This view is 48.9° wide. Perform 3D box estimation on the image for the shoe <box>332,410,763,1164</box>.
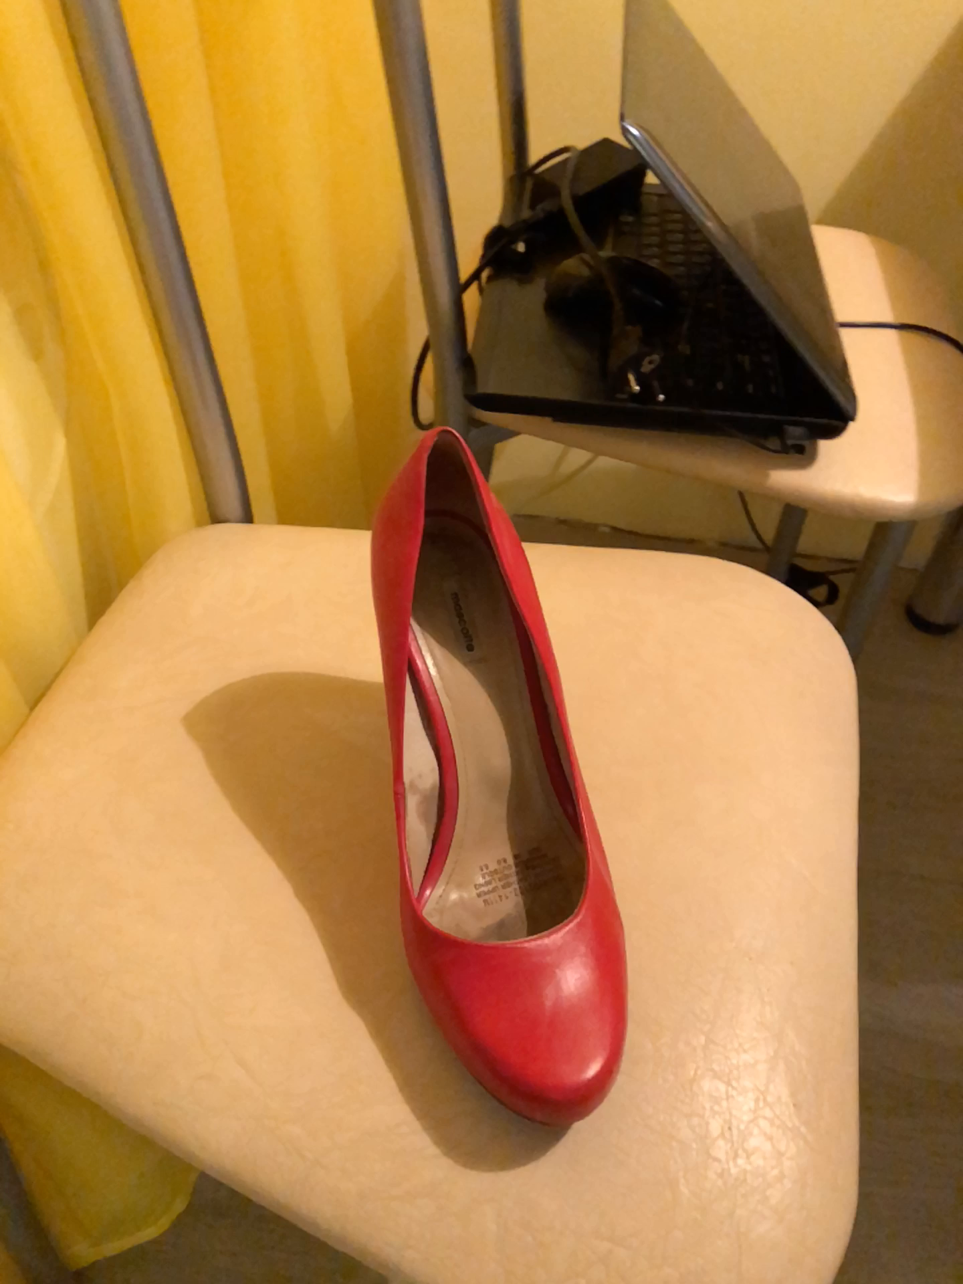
[{"bbox_3d":[0.003,0.038,0.384,0.080,0.129,0.231,-7,46,-11],"label":"shoe"}]
